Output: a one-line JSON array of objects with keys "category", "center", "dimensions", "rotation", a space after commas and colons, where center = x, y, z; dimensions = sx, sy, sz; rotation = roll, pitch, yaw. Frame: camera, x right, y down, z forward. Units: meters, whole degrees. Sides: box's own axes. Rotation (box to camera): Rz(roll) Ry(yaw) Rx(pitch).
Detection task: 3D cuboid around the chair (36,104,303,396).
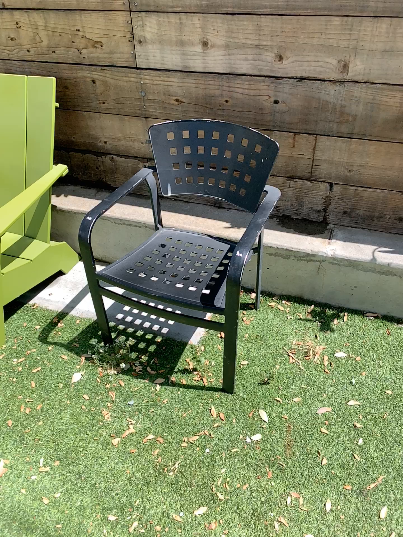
[{"category": "chair", "center": [-0.052, -0.080, 1.404], "dimensions": [0.591, 0.716, 0.522], "rotation": [14, 43, 19]}]
